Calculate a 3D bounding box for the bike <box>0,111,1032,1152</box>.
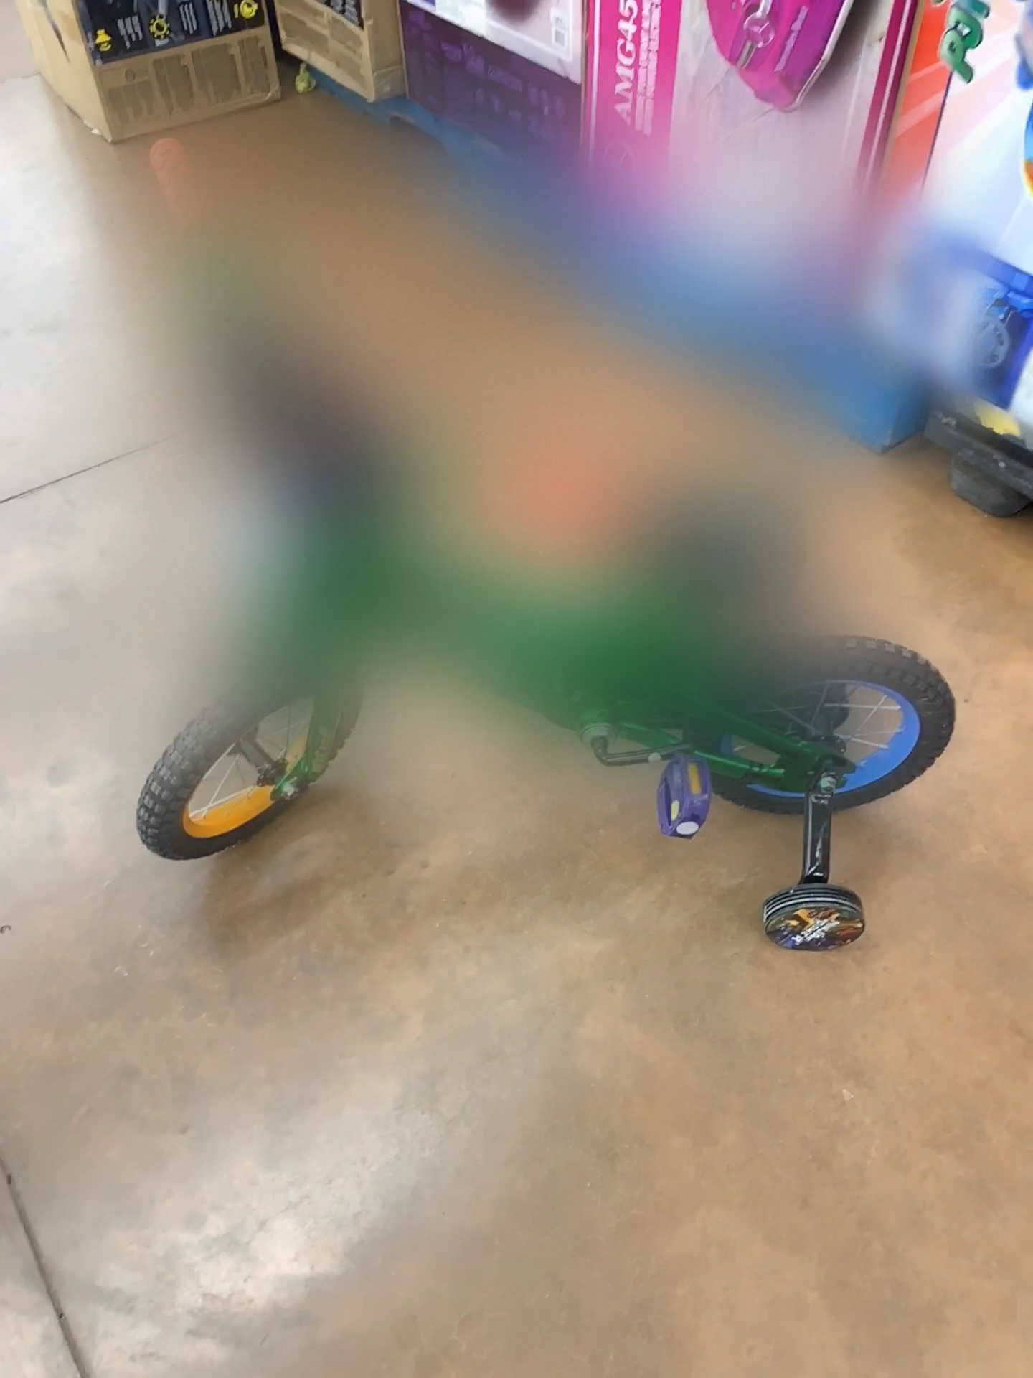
[{"bbox_3d":[0.052,-0.029,0.926,0.828,0.677,0.533,-3,49,-3],"label":"bike"}]
